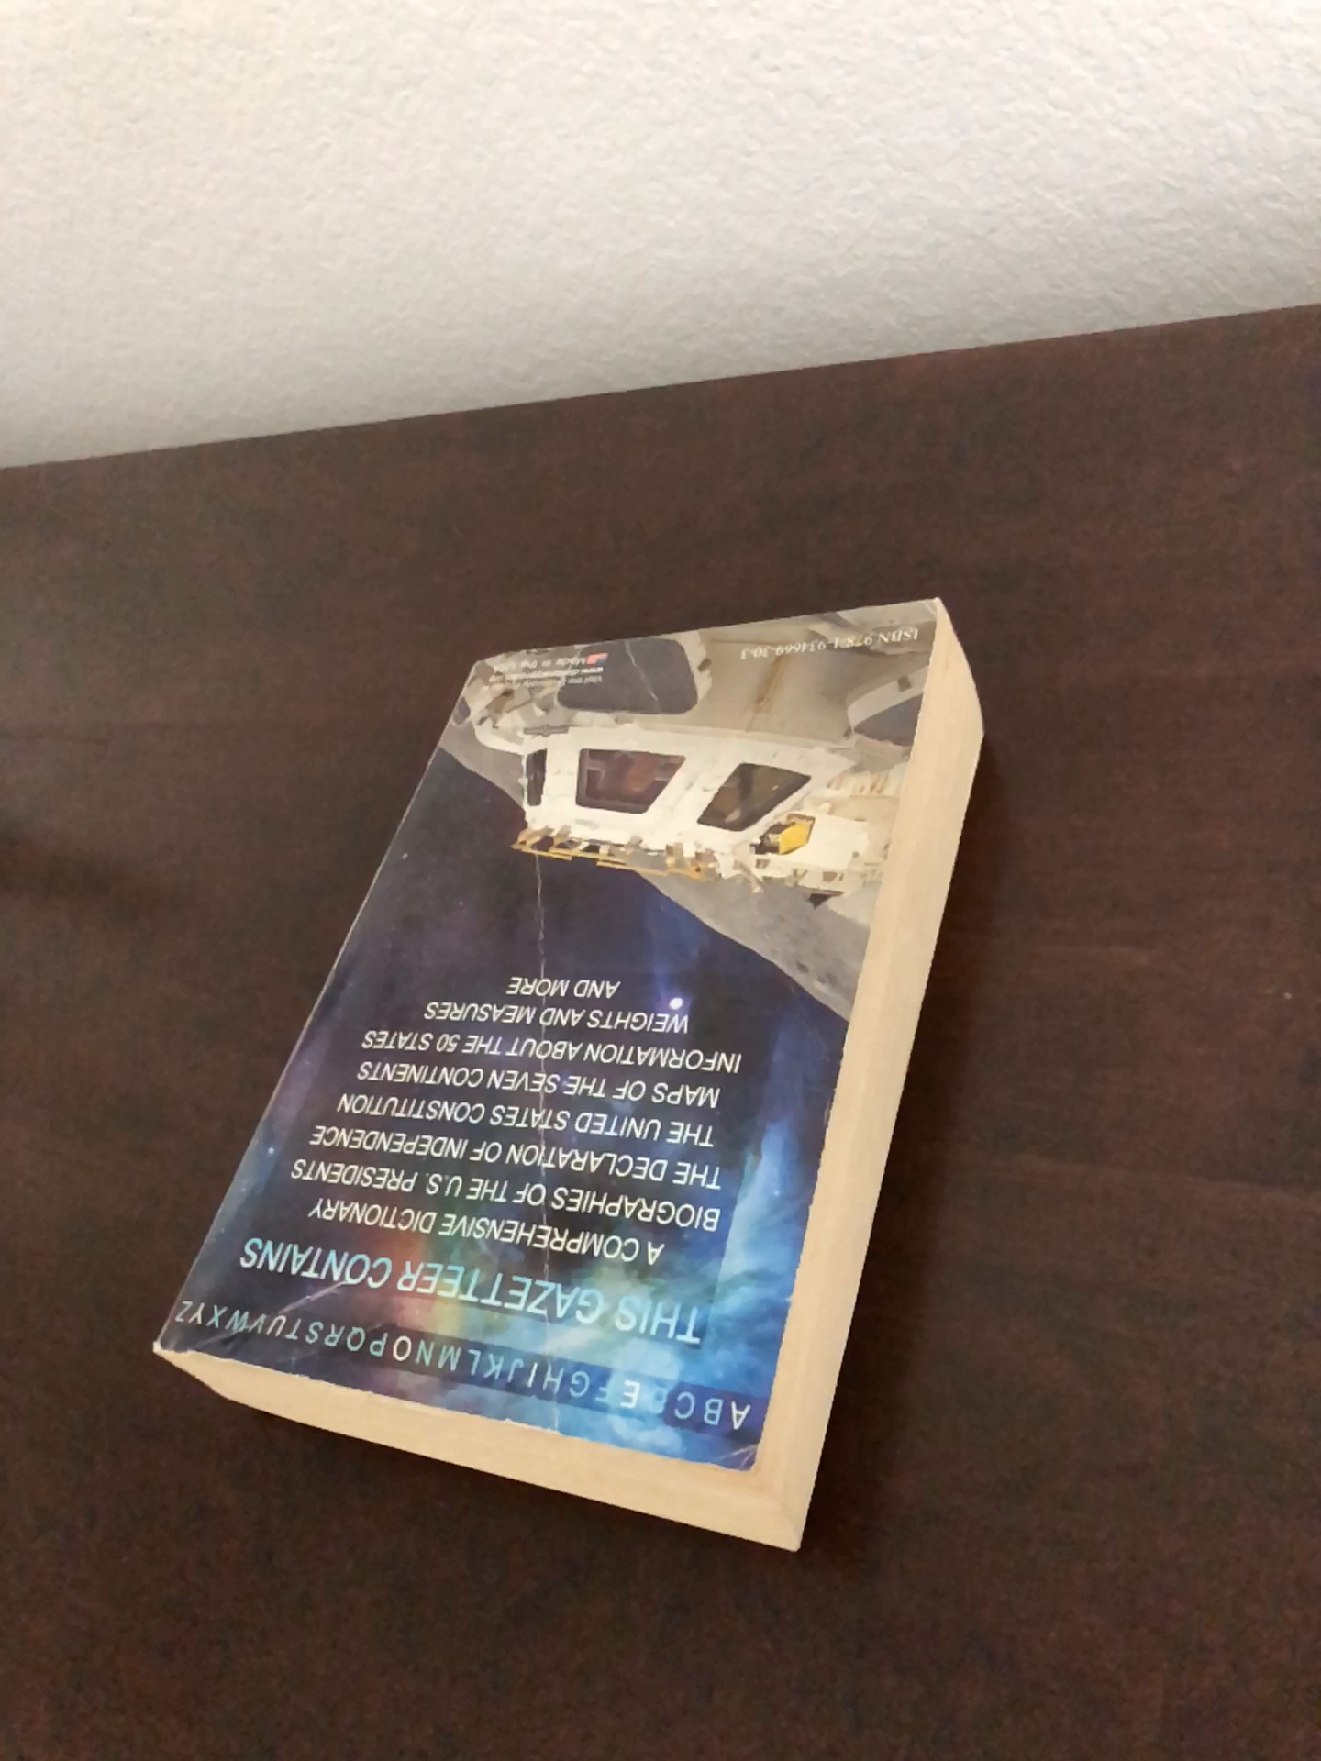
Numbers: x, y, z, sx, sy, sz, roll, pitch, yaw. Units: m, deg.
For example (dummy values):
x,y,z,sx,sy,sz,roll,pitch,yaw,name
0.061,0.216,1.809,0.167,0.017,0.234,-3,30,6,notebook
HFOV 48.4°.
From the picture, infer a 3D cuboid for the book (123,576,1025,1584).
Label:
x,y,z,sx,sy,sz,roll,pitch,yaw,name
-0.011,0.027,0.318,0.140,0.040,0.196,-1,55,32,book
